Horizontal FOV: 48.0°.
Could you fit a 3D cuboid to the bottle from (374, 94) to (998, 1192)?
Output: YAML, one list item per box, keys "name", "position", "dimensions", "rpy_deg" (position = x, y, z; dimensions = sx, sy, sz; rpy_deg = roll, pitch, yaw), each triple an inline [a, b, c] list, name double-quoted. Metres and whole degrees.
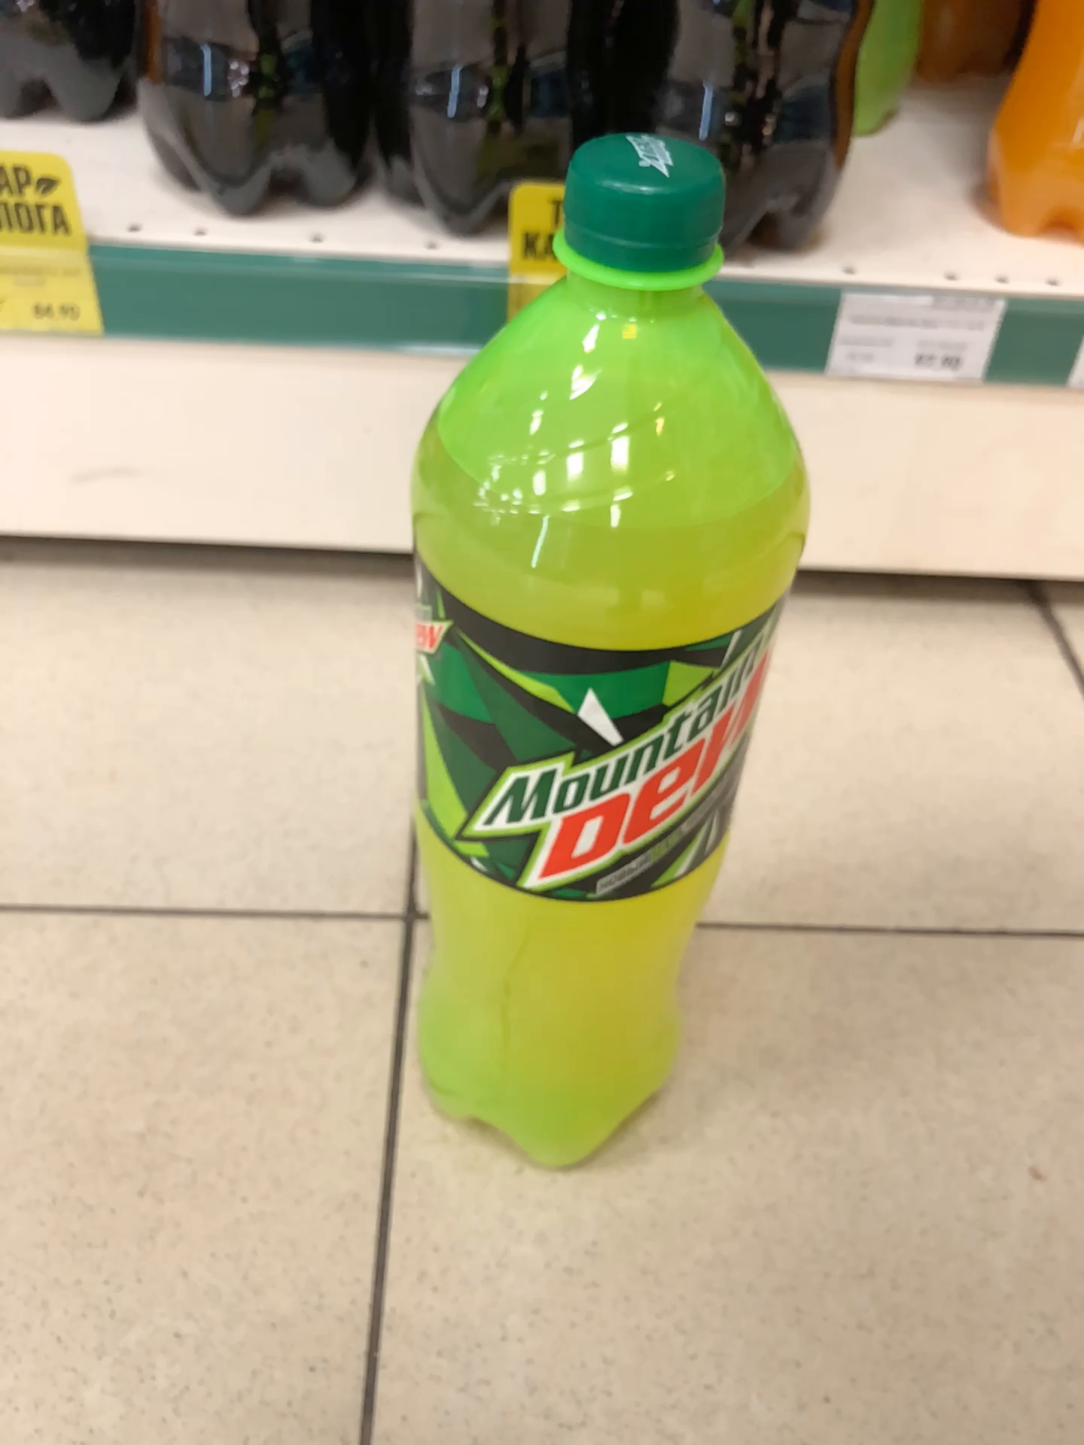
- name: "bottle"
  position: [0.012, 0.005, 0.329]
  dimensions: [0.095, 0.294, 0.101]
  rpy_deg: [2, 44, -2]
